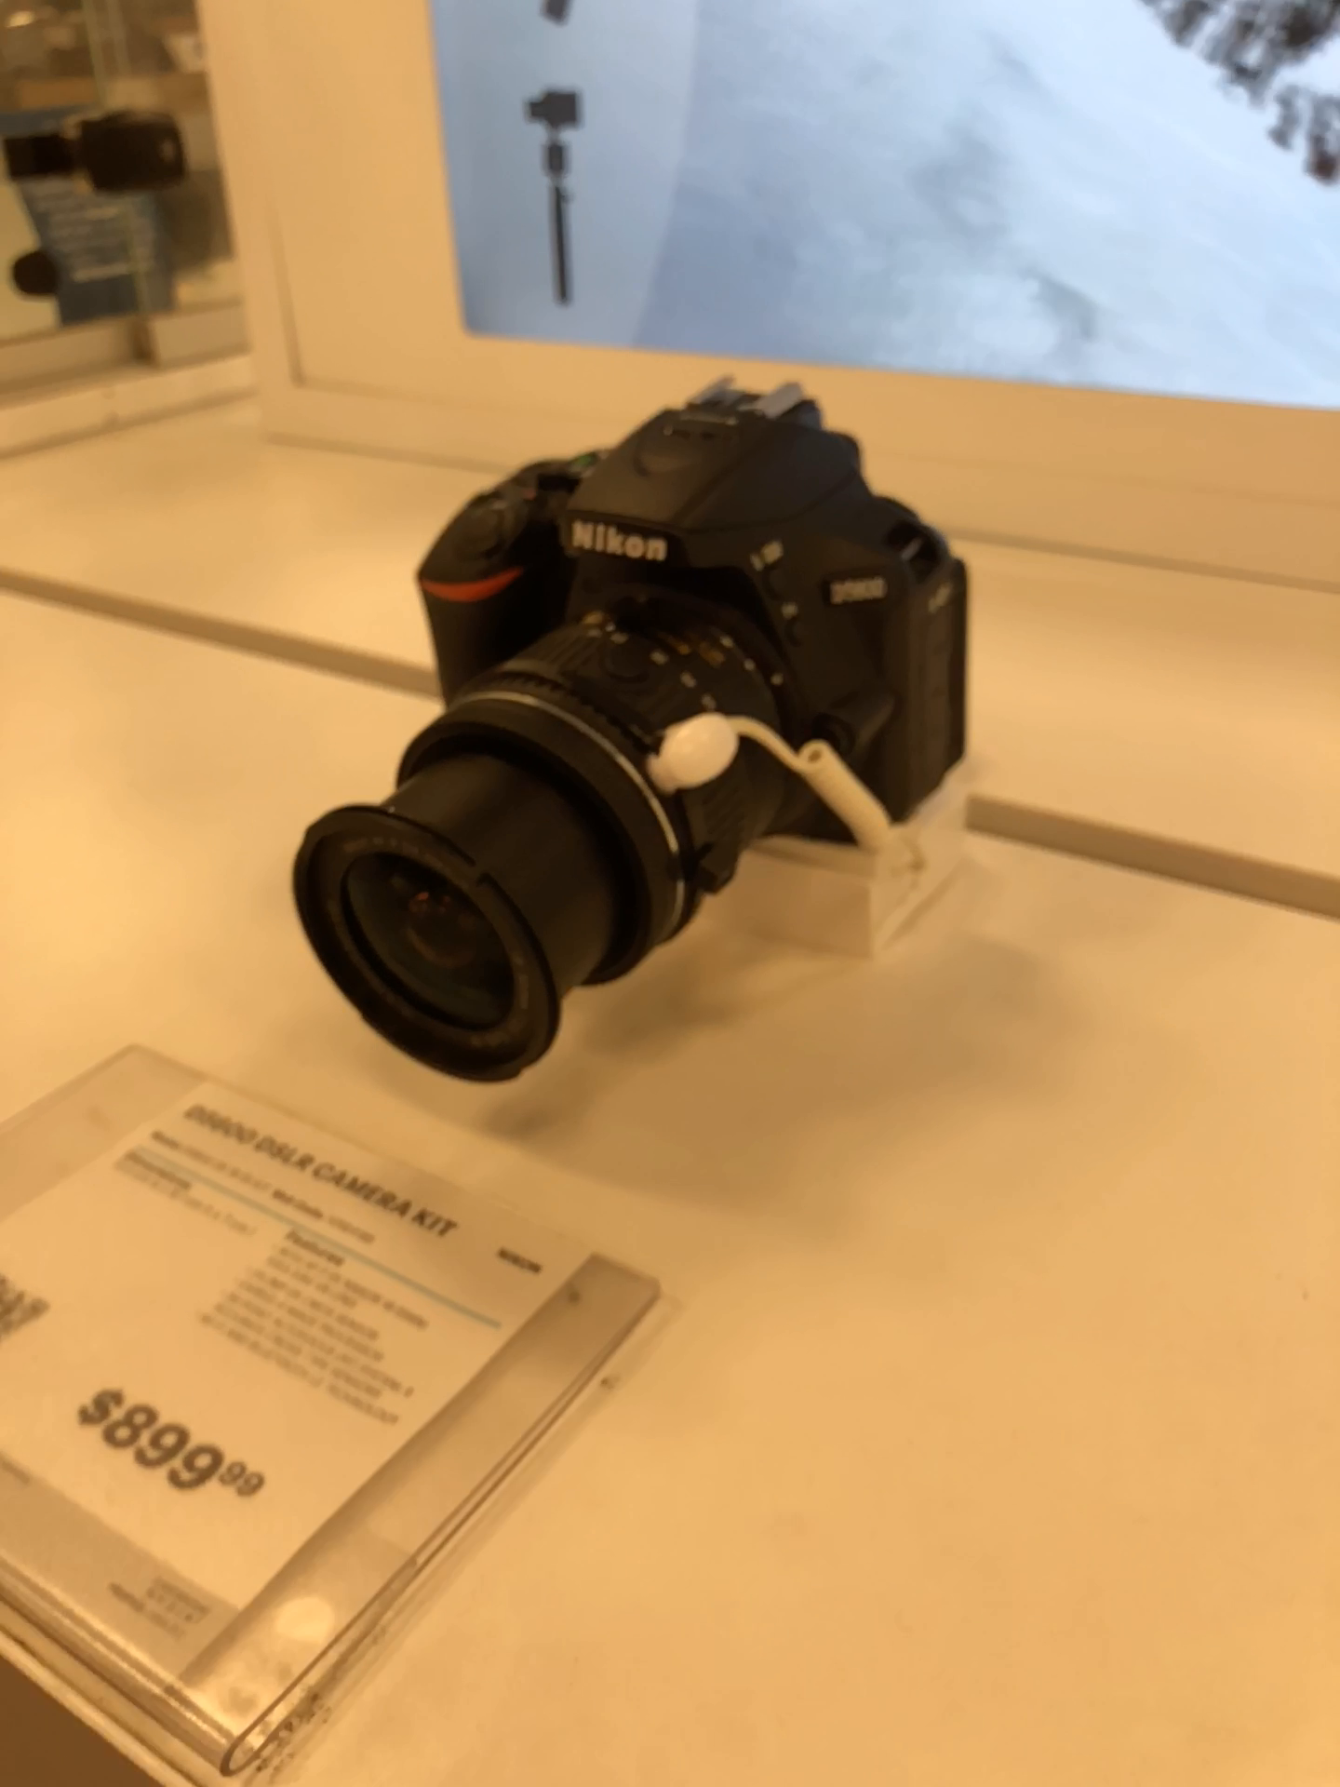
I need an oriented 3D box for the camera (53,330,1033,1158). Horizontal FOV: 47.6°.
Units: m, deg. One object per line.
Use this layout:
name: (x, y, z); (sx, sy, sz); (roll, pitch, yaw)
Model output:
camera: (-0.011, -0.052, 0.345); (0.120, 0.090, 0.191); (15, 40, 28)
